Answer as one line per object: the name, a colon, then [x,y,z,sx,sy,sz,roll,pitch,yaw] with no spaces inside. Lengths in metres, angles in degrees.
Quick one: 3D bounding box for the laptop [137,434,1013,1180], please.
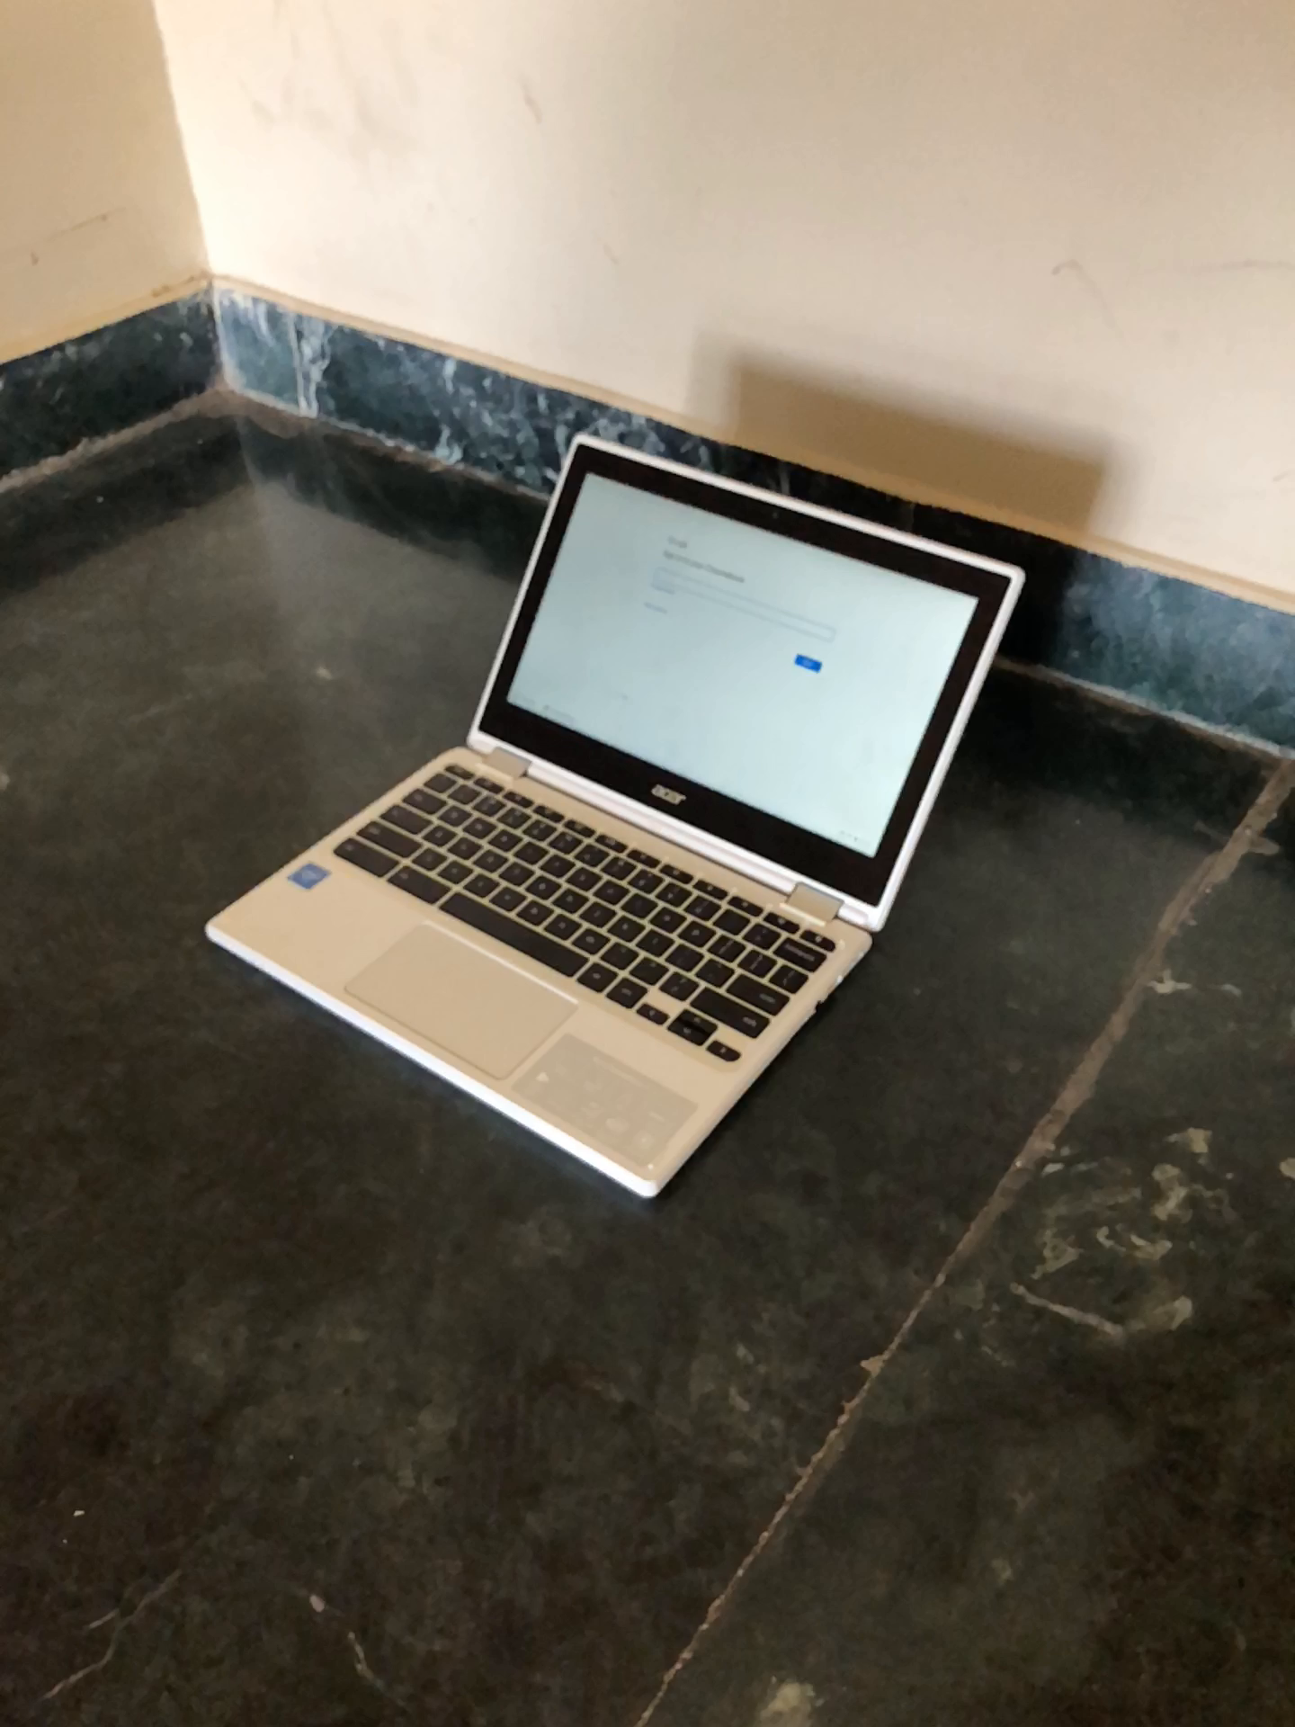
laptop: [-0.022,-0.057,0.730,0.281,0.156,0.315,25,46,26]
